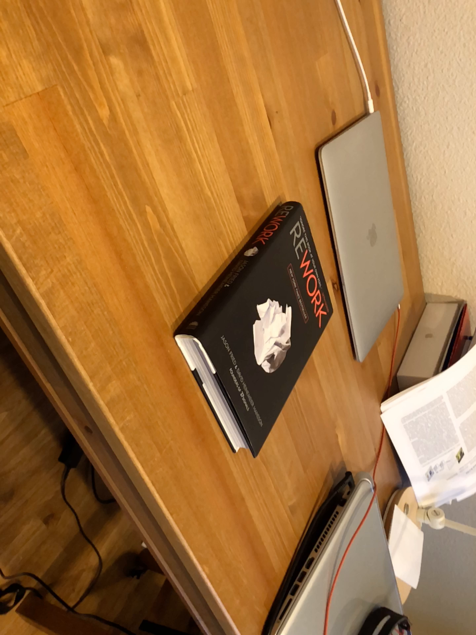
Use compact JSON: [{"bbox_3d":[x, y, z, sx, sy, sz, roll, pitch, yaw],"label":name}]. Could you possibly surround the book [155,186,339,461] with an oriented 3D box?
[{"bbox_3d":[0.027,-0.002,0.532,0.230,0.040,0.161,-56,135,-39],"label":"book"}]
